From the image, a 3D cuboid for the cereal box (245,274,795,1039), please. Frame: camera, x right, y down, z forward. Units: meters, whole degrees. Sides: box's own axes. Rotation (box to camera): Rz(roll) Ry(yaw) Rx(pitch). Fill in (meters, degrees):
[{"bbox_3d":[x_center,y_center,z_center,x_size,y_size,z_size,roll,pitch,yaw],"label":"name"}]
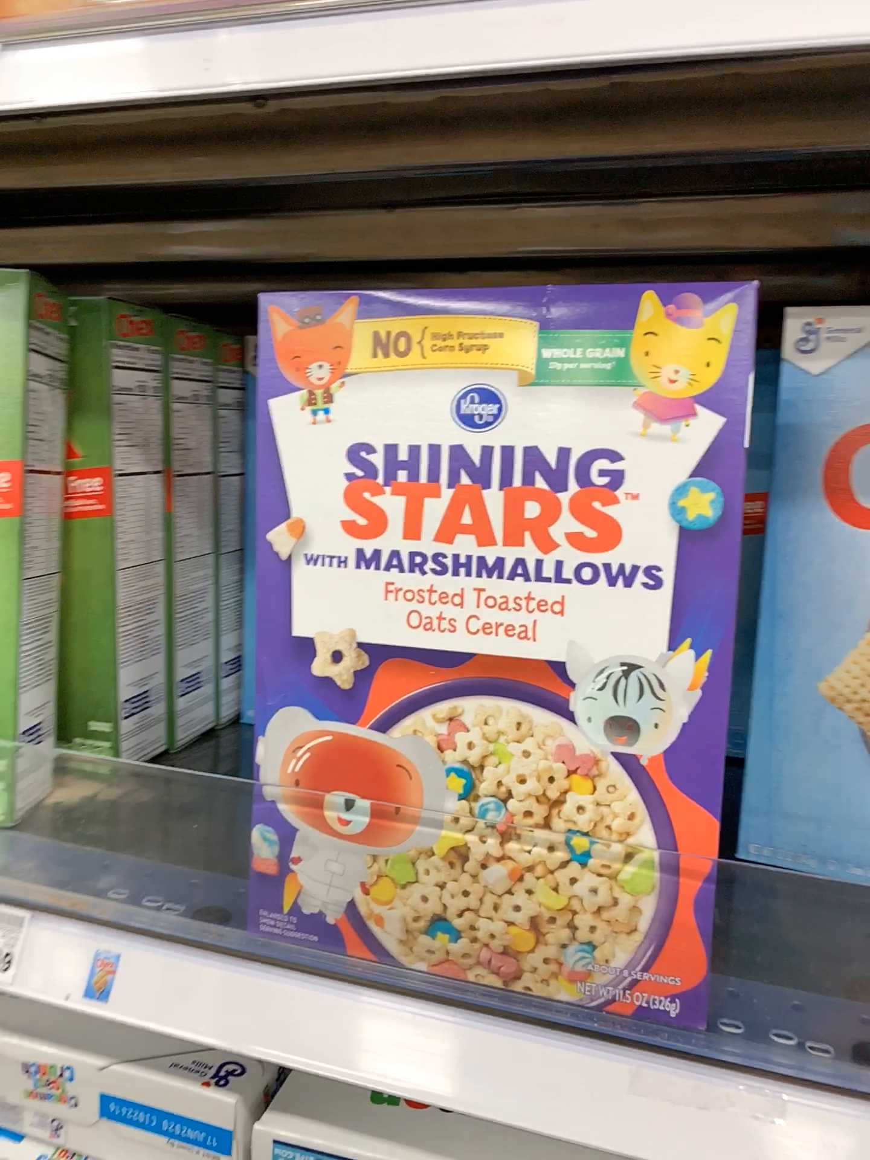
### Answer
[{"bbox_3d":[0.027,0.024,0.363,0.200,0.270,0.050,3,5,16],"label":"cereal box"}]
